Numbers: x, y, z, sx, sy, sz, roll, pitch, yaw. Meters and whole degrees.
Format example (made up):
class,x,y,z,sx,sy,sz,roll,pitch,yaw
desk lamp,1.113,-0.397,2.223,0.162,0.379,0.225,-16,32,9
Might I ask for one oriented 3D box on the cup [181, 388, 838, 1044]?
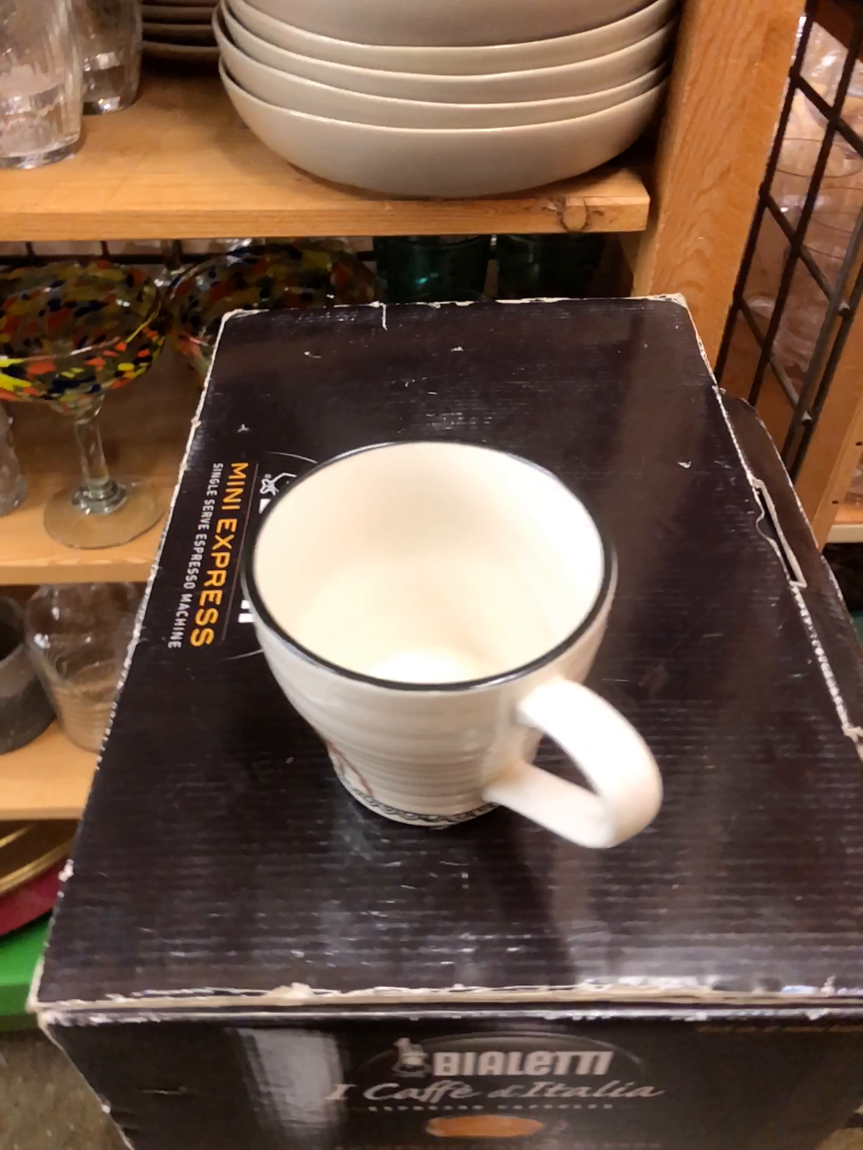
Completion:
class,x,y,z,sx,sy,sz,roll,pitch,yaw
cup,0.016,0.029,0.268,0.101,0.084,0.131,-33,53,-29
